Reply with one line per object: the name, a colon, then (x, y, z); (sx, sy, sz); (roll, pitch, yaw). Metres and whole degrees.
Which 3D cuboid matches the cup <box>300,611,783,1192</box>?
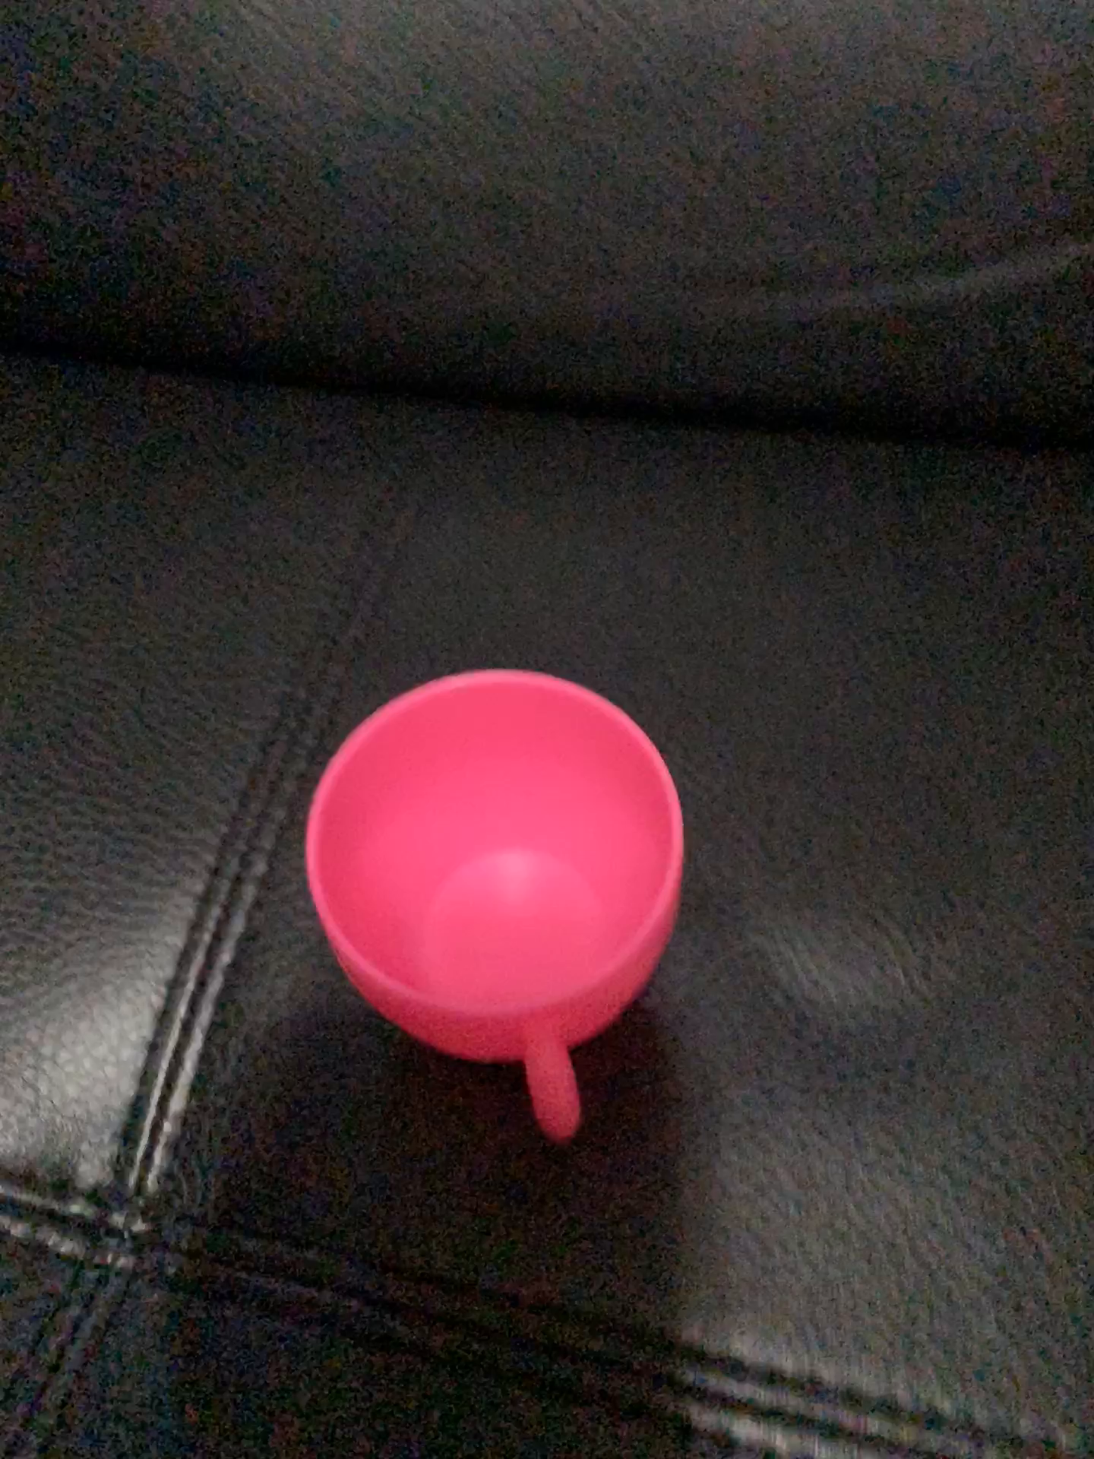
cup: (-0.004, 0.028, 0.190); (0.061, 0.047, 0.073); (-9, 54, -4)
